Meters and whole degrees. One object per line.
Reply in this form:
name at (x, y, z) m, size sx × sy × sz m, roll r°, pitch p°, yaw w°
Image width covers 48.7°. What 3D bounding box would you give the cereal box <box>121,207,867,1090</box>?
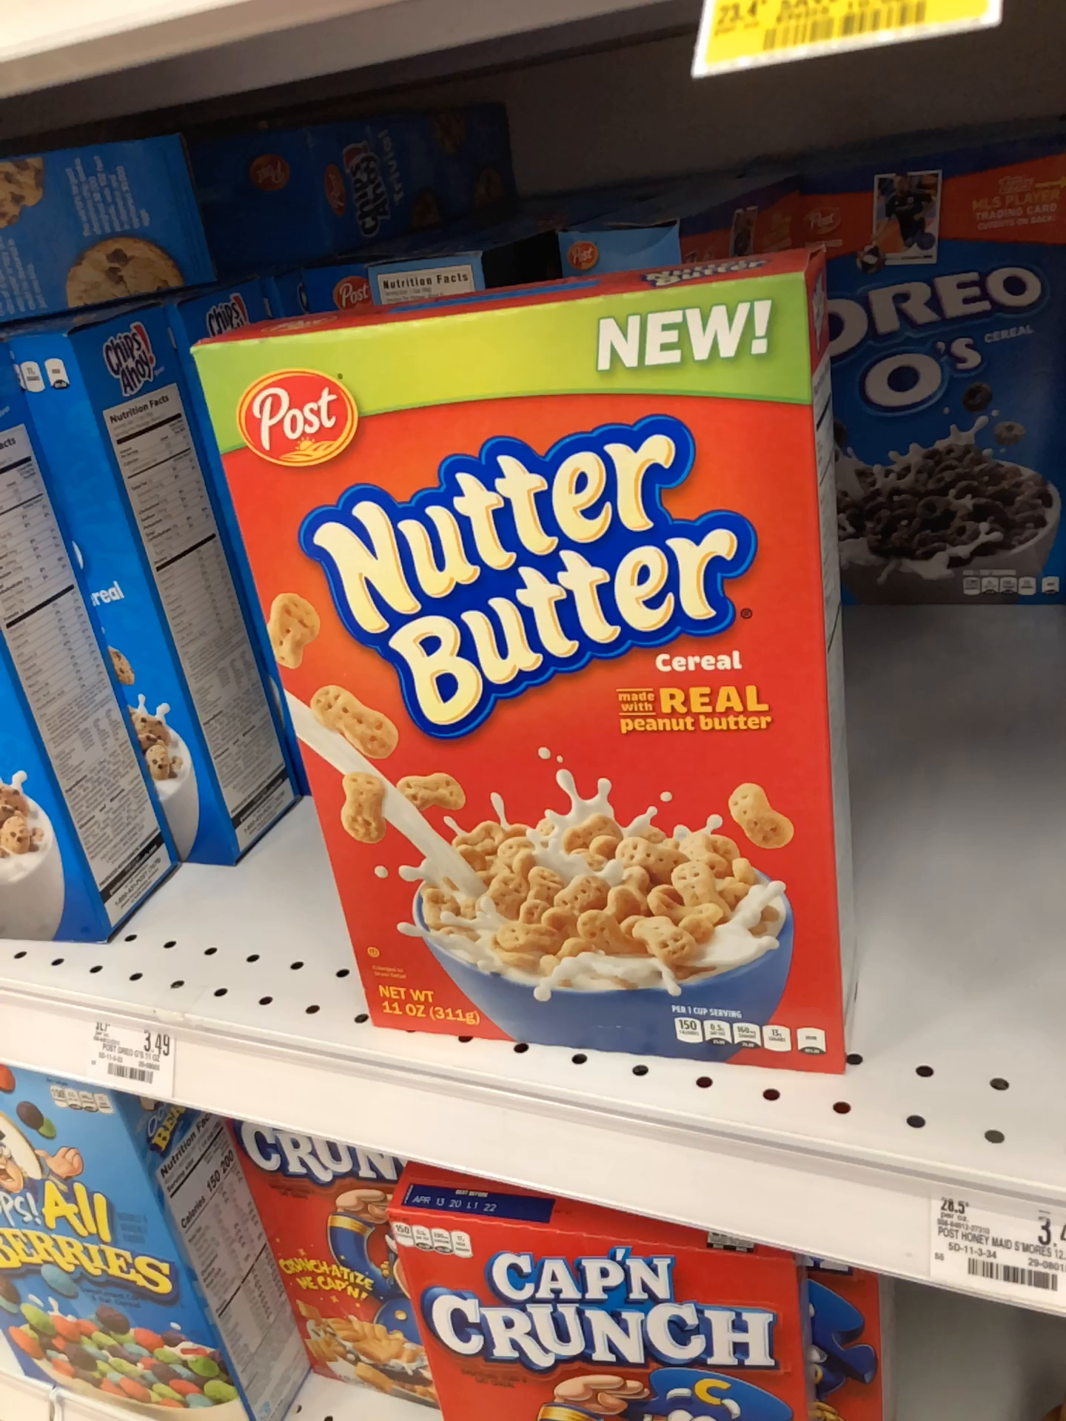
cereal box at (0.003, -0.009, 0.402) m, size 0.200 × 0.269 × 0.070 m, roll 0°, pitch 27°, yaw 21°
